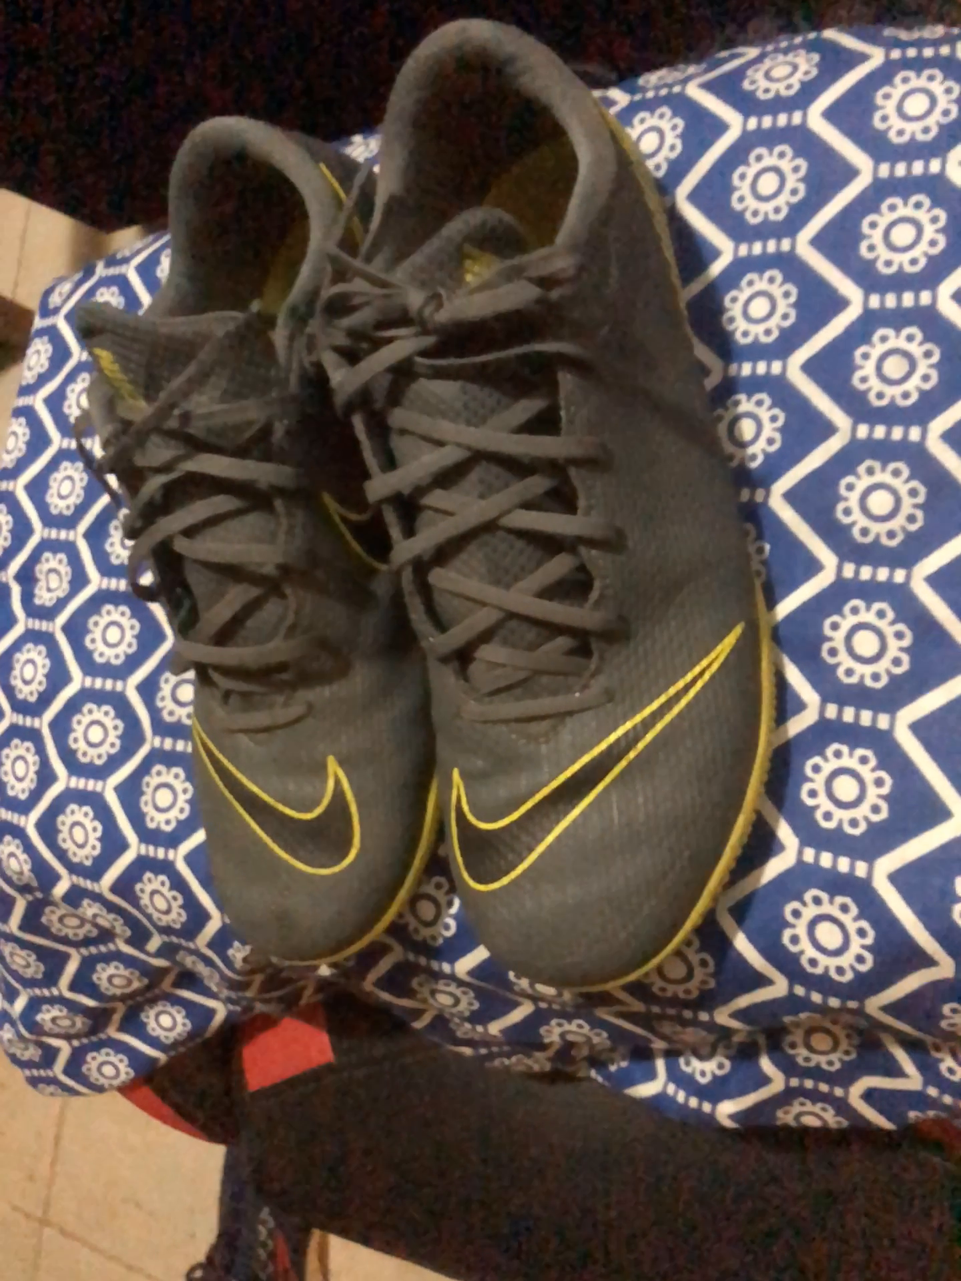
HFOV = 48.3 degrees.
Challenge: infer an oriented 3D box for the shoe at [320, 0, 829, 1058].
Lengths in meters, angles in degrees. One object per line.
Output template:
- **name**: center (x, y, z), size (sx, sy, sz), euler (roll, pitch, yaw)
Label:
- **shoe**: center (0.024, -0.032, 0.274), size (0.090, 0.090, 0.240), euler (-7, 79, 27)

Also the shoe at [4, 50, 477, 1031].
- **shoe**: center (-0.066, -0.022, 0.314), size (0.090, 0.090, 0.240), euler (-7, 79, 27)
